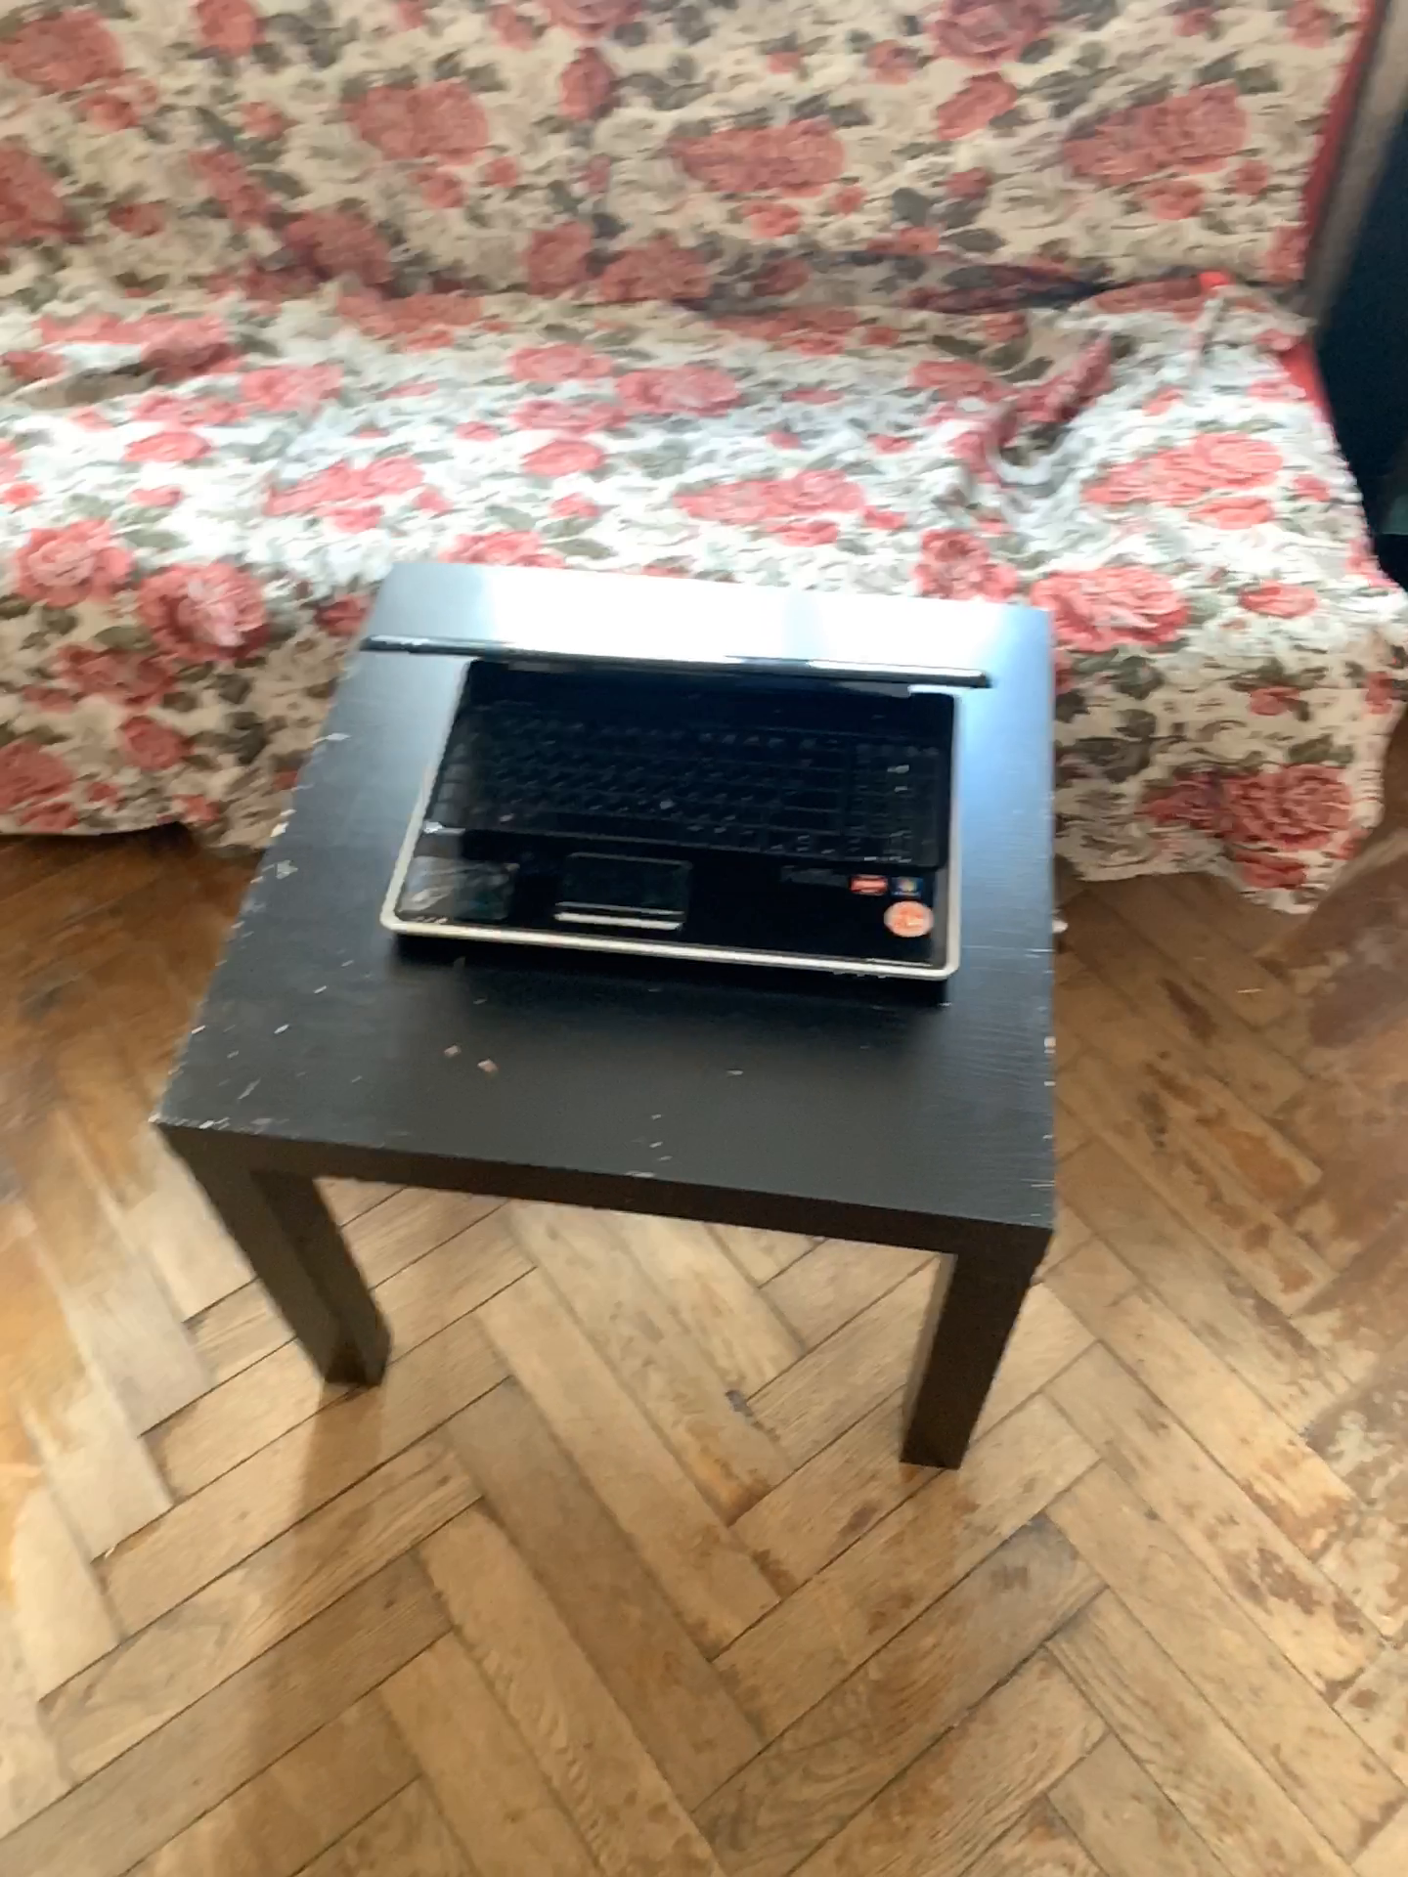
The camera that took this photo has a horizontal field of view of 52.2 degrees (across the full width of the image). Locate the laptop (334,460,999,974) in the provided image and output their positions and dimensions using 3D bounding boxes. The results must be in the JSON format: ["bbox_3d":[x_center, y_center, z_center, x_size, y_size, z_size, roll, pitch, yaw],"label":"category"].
[{"bbox_3d":[-0.008,-0.147,0.927,0.364,0.177,0.253,5,53,6],"label":"laptop"}]
